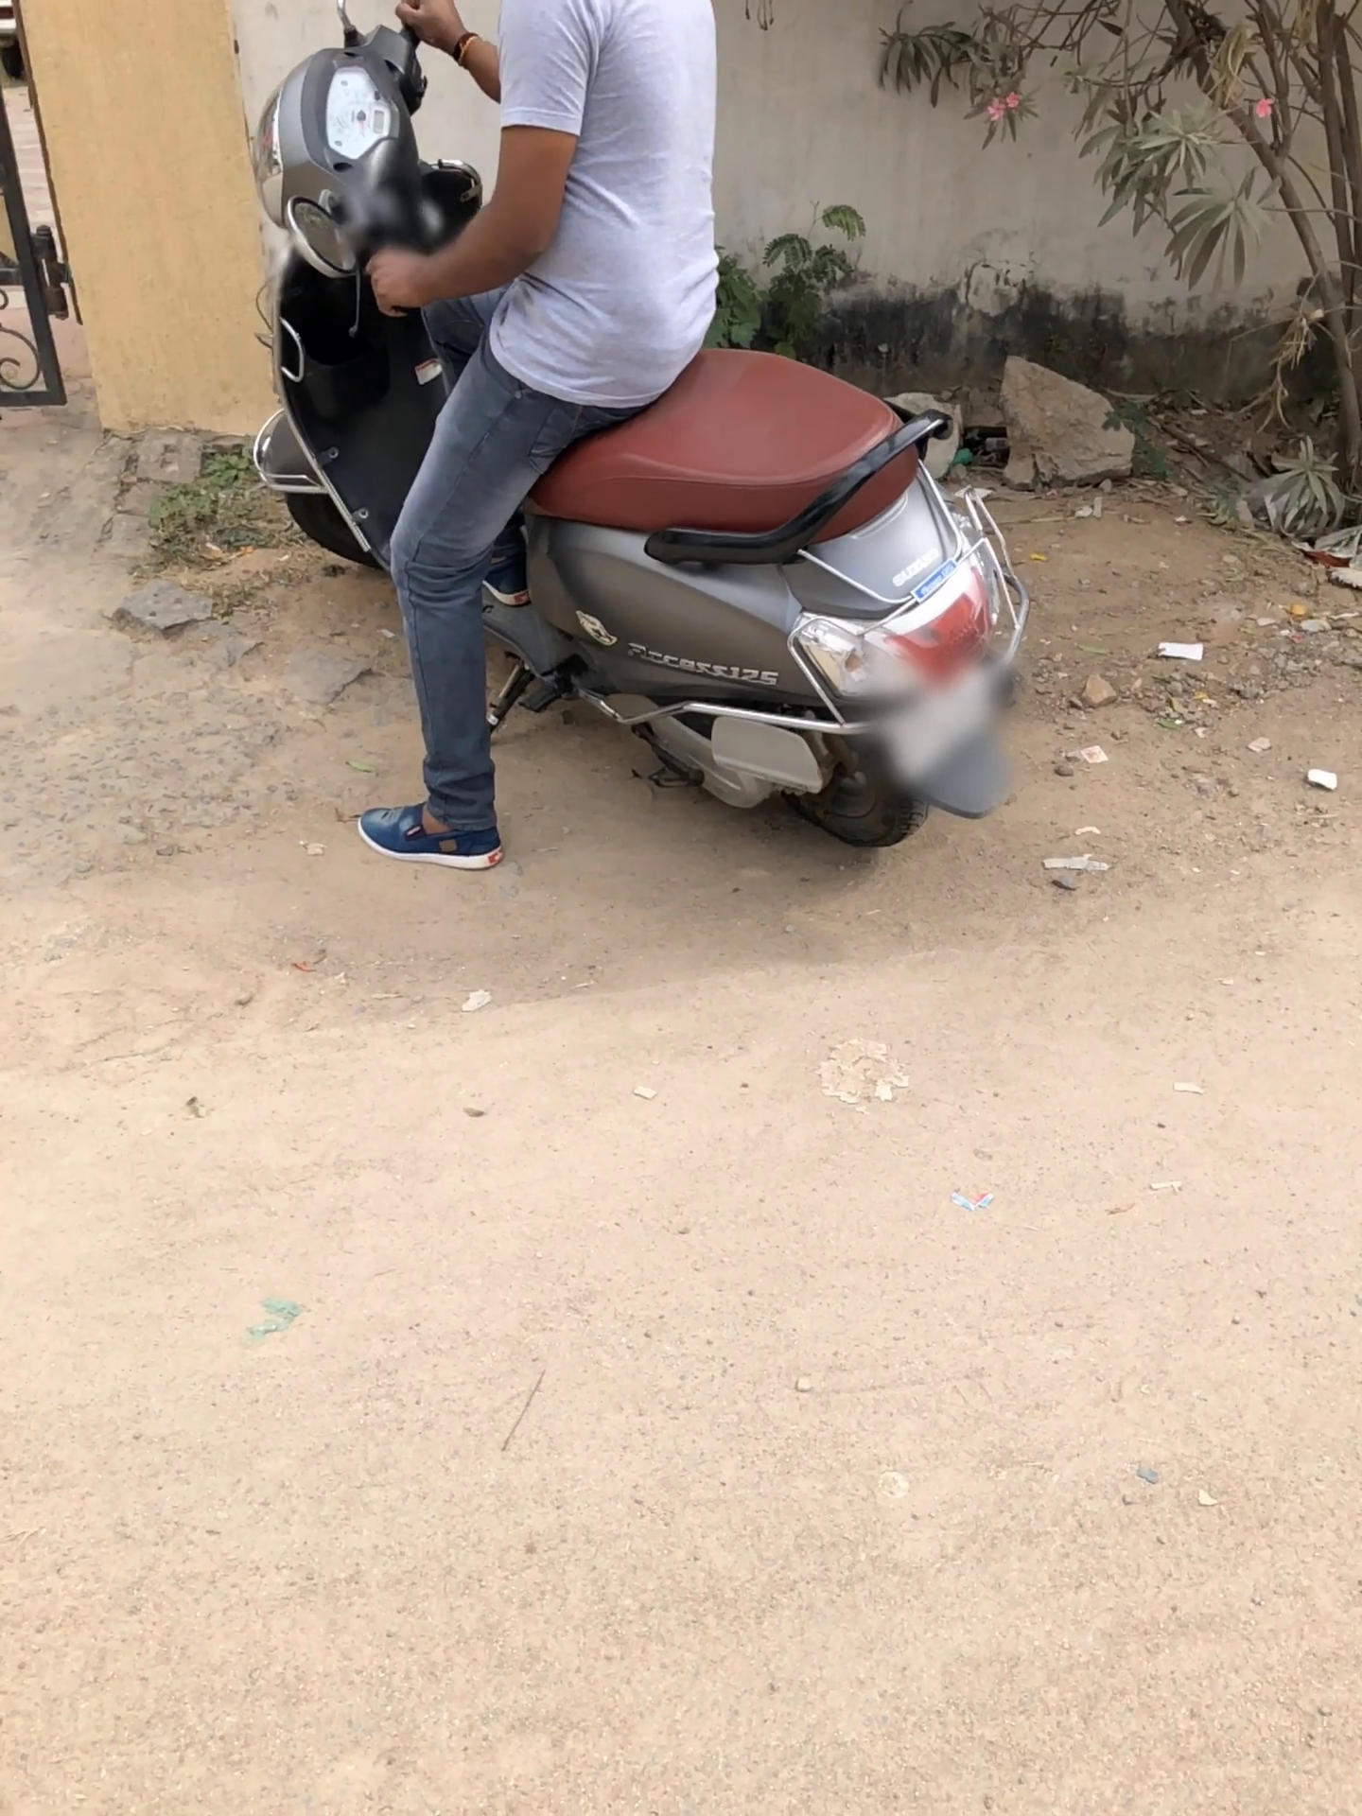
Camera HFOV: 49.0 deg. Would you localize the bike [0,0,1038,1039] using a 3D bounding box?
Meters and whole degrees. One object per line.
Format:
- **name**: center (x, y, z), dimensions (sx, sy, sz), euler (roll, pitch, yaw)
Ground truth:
- **bike**: center (-0.349, -0.770, 2.318), dimensions (1.499, 1.195, 0.613), euler (28, 42, 30)
